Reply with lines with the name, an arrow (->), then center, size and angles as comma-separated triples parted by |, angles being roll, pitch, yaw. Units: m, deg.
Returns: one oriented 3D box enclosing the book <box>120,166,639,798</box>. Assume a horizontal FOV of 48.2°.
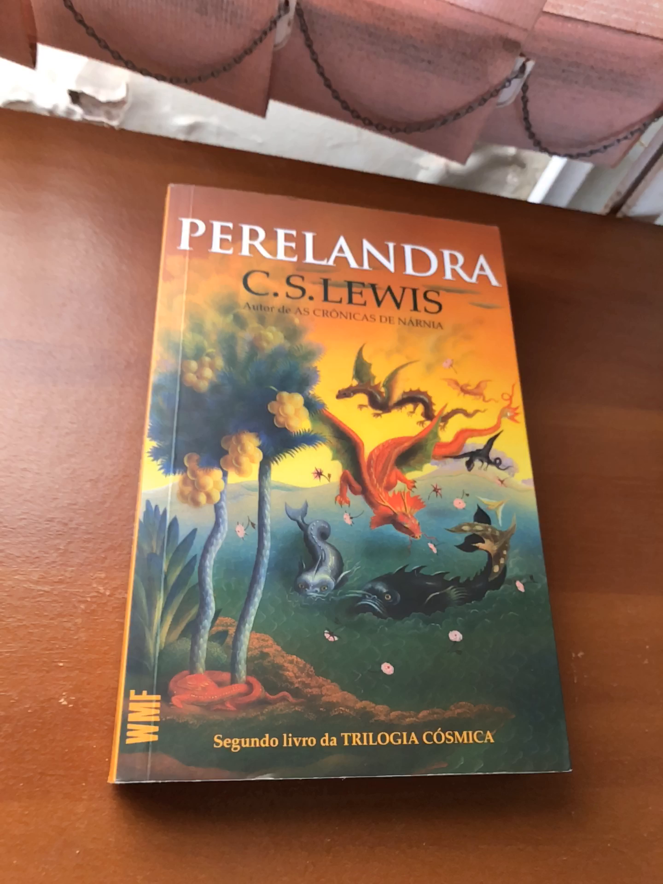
book -> 0.011, 0.004, 0.233 | 0.130, 0.030, 0.191 | 4, 64, -11
